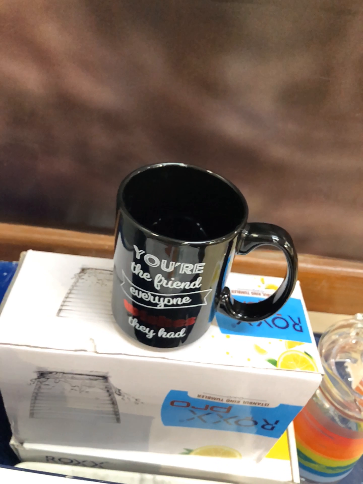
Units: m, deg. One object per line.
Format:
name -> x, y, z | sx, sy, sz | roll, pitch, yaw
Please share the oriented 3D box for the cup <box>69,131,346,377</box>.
cup -> 0.011, 0.008, 0.259 | 0.130, 0.109, 0.091 | 7, 40, 0
